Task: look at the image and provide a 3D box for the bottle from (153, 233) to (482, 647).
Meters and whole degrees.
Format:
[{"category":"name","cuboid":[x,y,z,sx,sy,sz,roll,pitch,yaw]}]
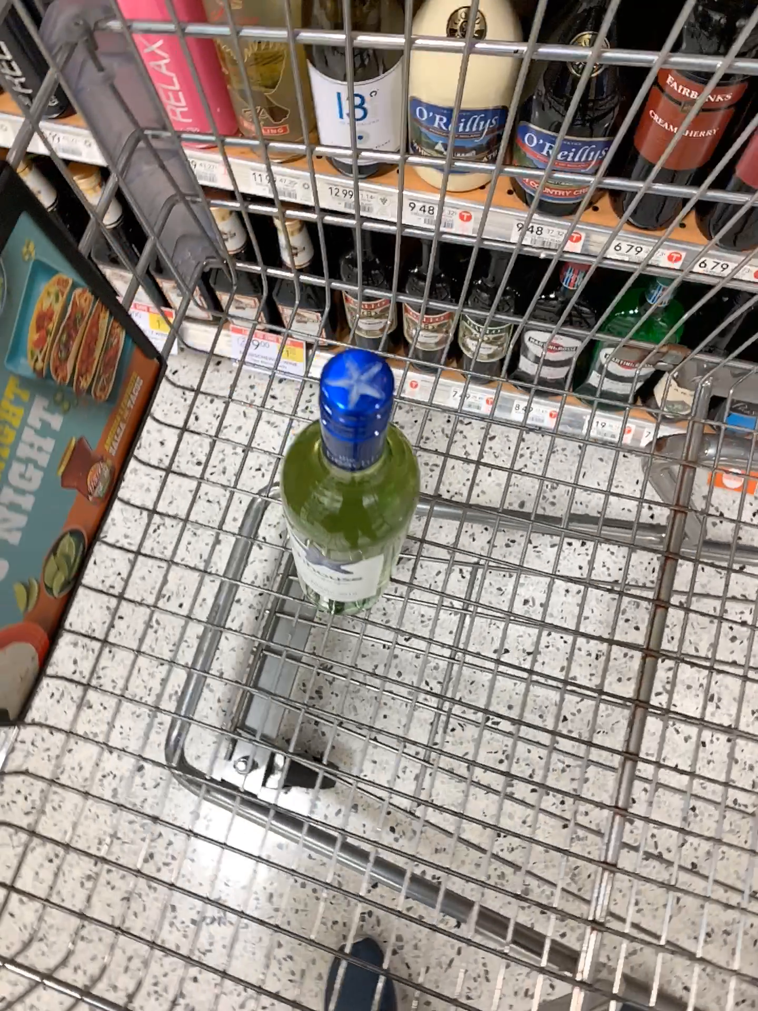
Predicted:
[{"category":"bottle","cuboid":[-0.022,0.000,0.450,0.090,0.339,0.090,0,73,0]}]
